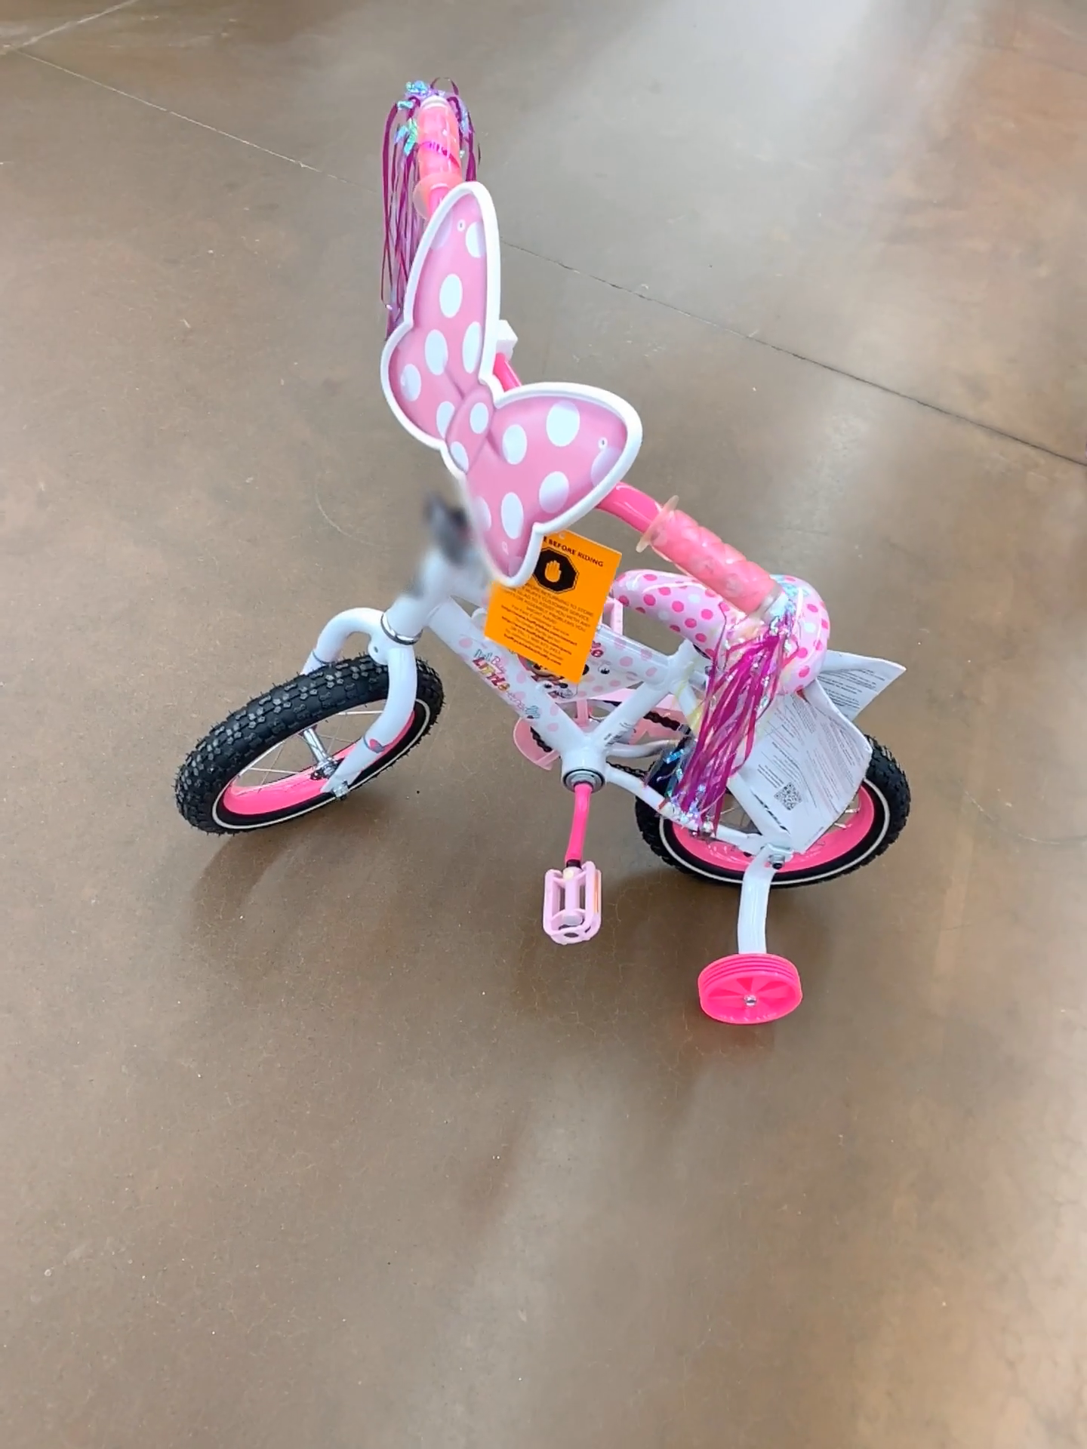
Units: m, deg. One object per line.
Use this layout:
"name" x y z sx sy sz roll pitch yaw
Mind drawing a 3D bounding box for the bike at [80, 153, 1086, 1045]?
"bike" 0.043 -0.054 1.045 0.776 0.707 0.429 2 49 -8
